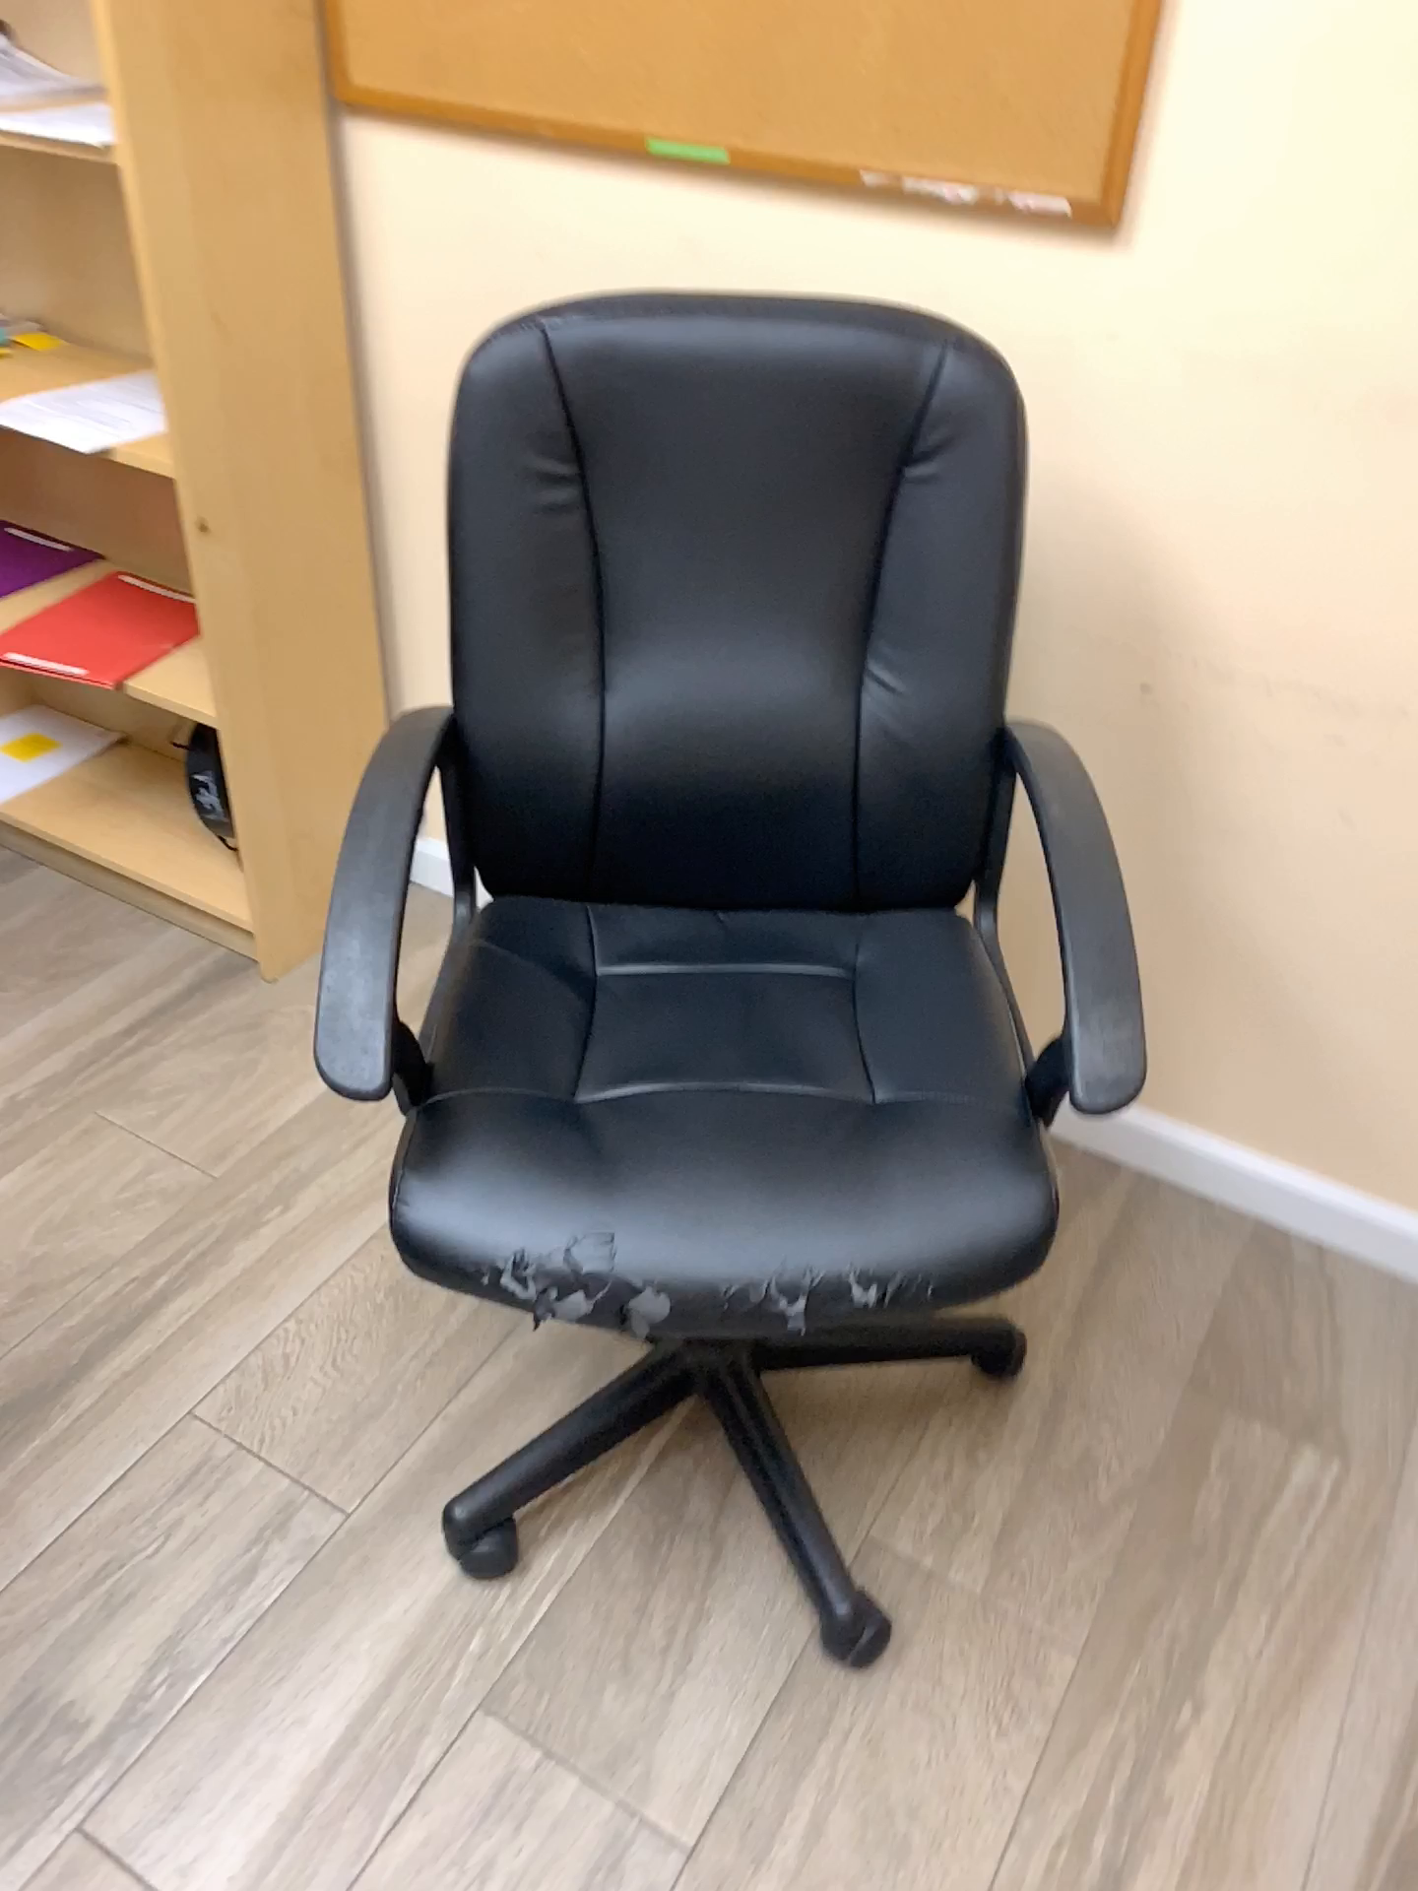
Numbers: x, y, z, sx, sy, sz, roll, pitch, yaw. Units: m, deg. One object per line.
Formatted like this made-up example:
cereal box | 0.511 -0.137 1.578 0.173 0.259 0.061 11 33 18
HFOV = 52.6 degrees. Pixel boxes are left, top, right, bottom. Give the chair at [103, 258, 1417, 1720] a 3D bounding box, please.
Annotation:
chair | 0.047 0.058 1.183 0.682 0.986 0.648 2 36 -2
